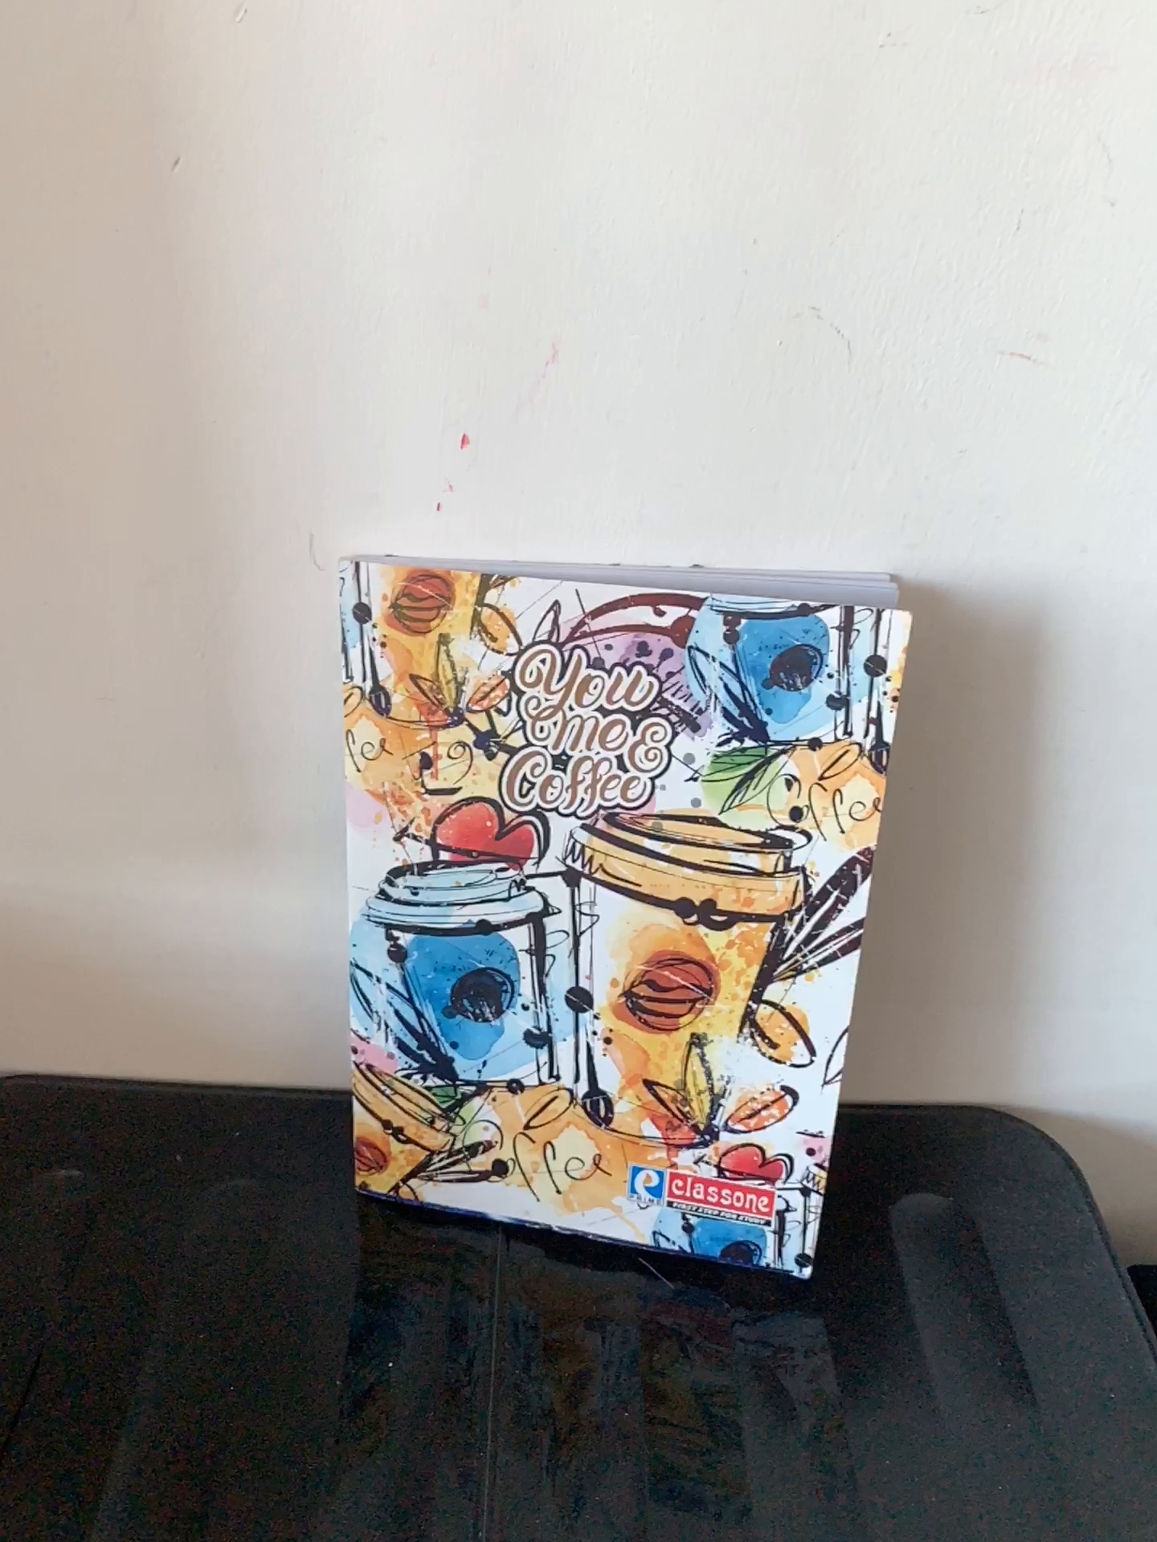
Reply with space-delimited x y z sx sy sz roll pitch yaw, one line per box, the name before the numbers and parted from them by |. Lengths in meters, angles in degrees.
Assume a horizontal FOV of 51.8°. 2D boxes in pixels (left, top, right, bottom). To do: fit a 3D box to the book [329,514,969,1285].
book | 0.014 0.060 0.487 0.220 0.299 0.050 7 23 6
